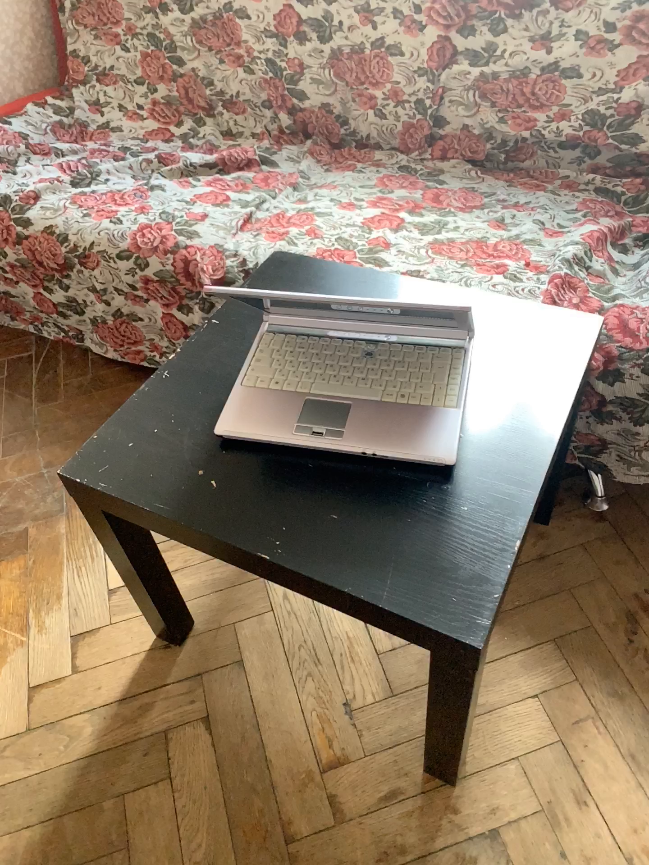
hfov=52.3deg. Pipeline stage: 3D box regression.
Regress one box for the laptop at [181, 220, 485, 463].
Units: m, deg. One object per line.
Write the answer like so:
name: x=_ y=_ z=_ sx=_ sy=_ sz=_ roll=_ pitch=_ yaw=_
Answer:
laptop: x=0.025 y=-0.120 z=0.808 sx=0.305 sy=0.156 sz=0.226 roll=7 pitch=49 yaw=13
